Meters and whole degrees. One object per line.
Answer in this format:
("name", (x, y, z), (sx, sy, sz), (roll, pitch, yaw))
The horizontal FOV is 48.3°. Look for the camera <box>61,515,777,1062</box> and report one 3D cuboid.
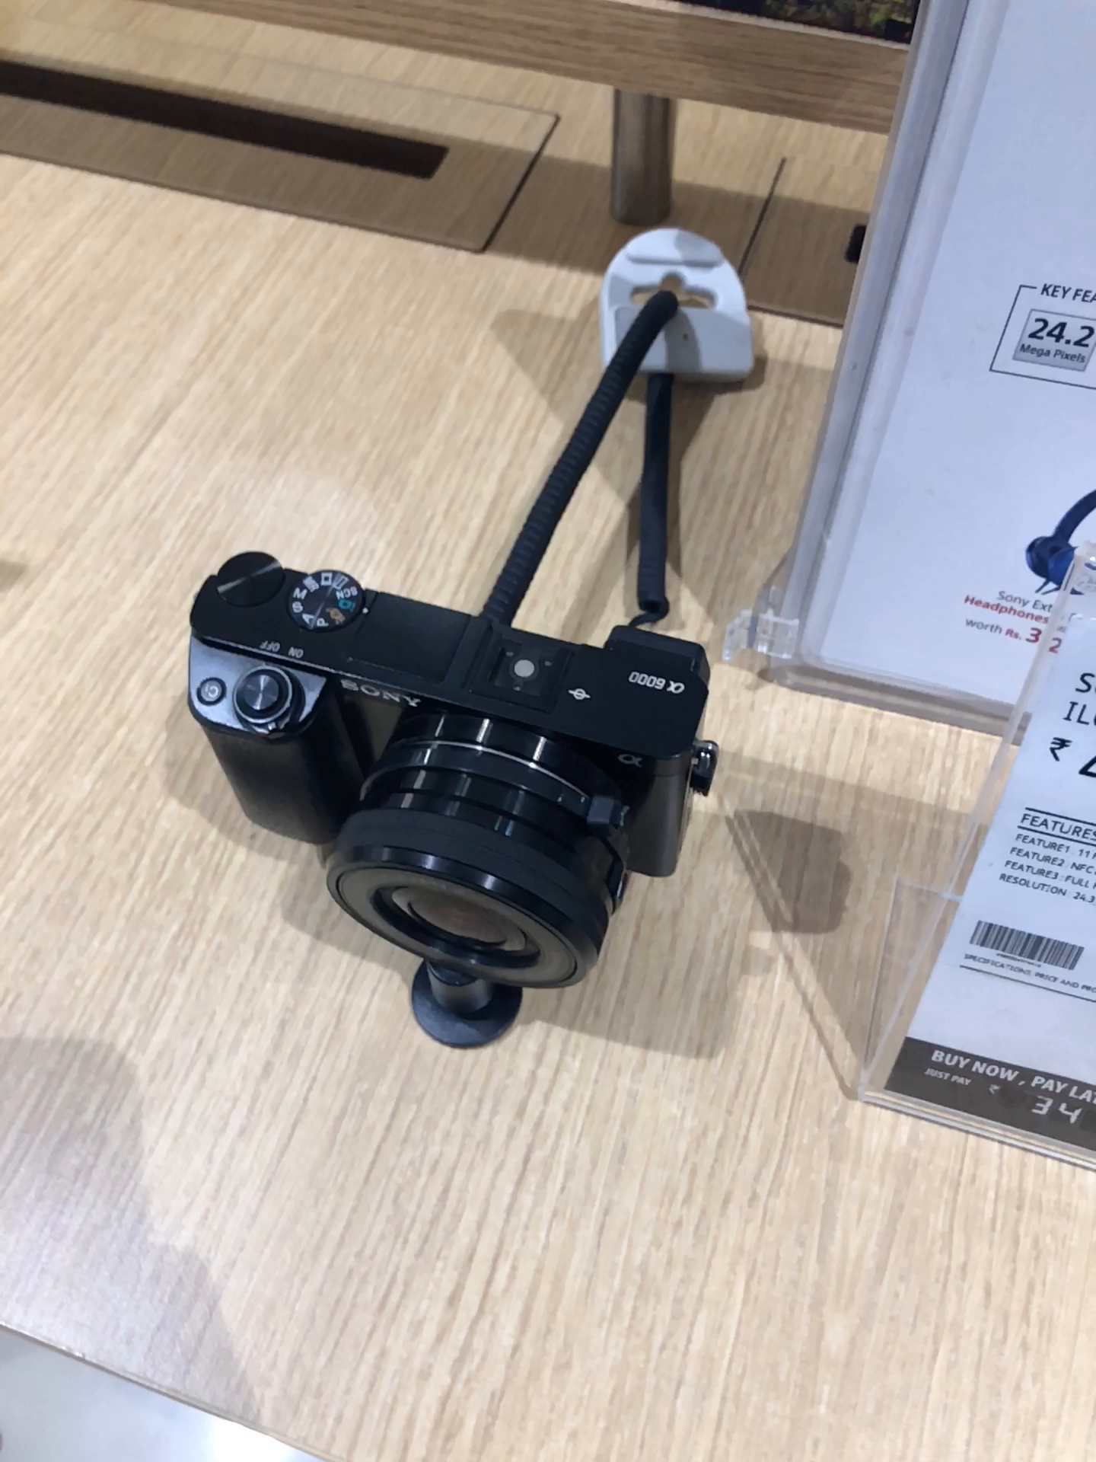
("camera", (-0.024, 0.013, 0.279), (0.130, 0.070, 0.070), (14, 60, 10))
